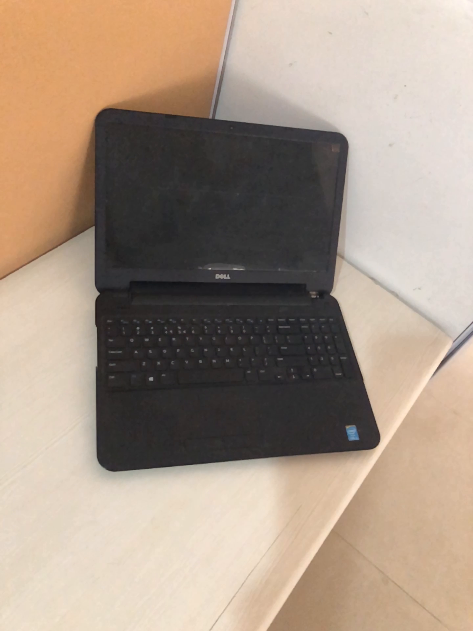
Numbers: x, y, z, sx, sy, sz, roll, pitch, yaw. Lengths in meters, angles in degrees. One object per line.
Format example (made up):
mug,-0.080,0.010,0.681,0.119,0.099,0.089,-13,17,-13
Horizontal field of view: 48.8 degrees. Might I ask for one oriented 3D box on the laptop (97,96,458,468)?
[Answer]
laptop,0.007,-0.054,0.669,0.353,0.175,0.415,0,56,-16
